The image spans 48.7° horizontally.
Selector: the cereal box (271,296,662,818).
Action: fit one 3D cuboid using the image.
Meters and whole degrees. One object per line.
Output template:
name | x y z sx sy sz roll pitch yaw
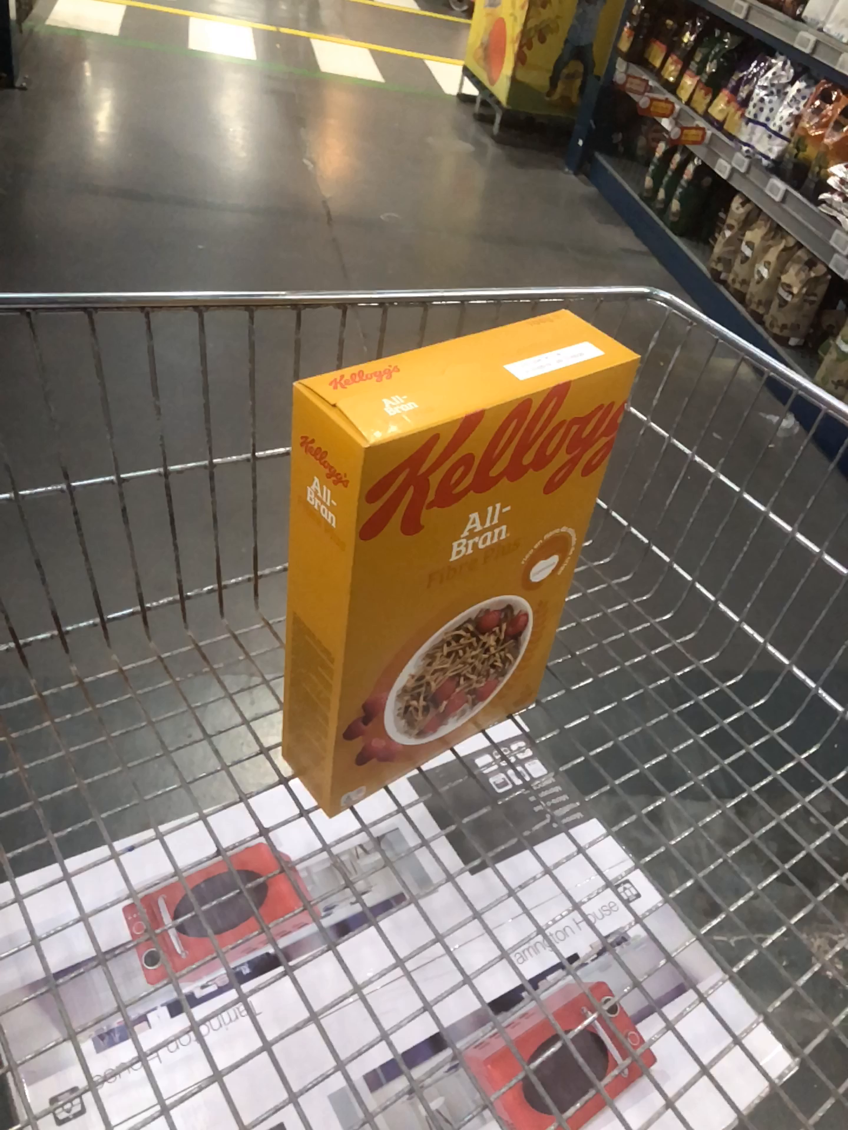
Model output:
cereal box | 0.013 0.002 0.577 0.201 0.289 0.070 -23 51 -31
